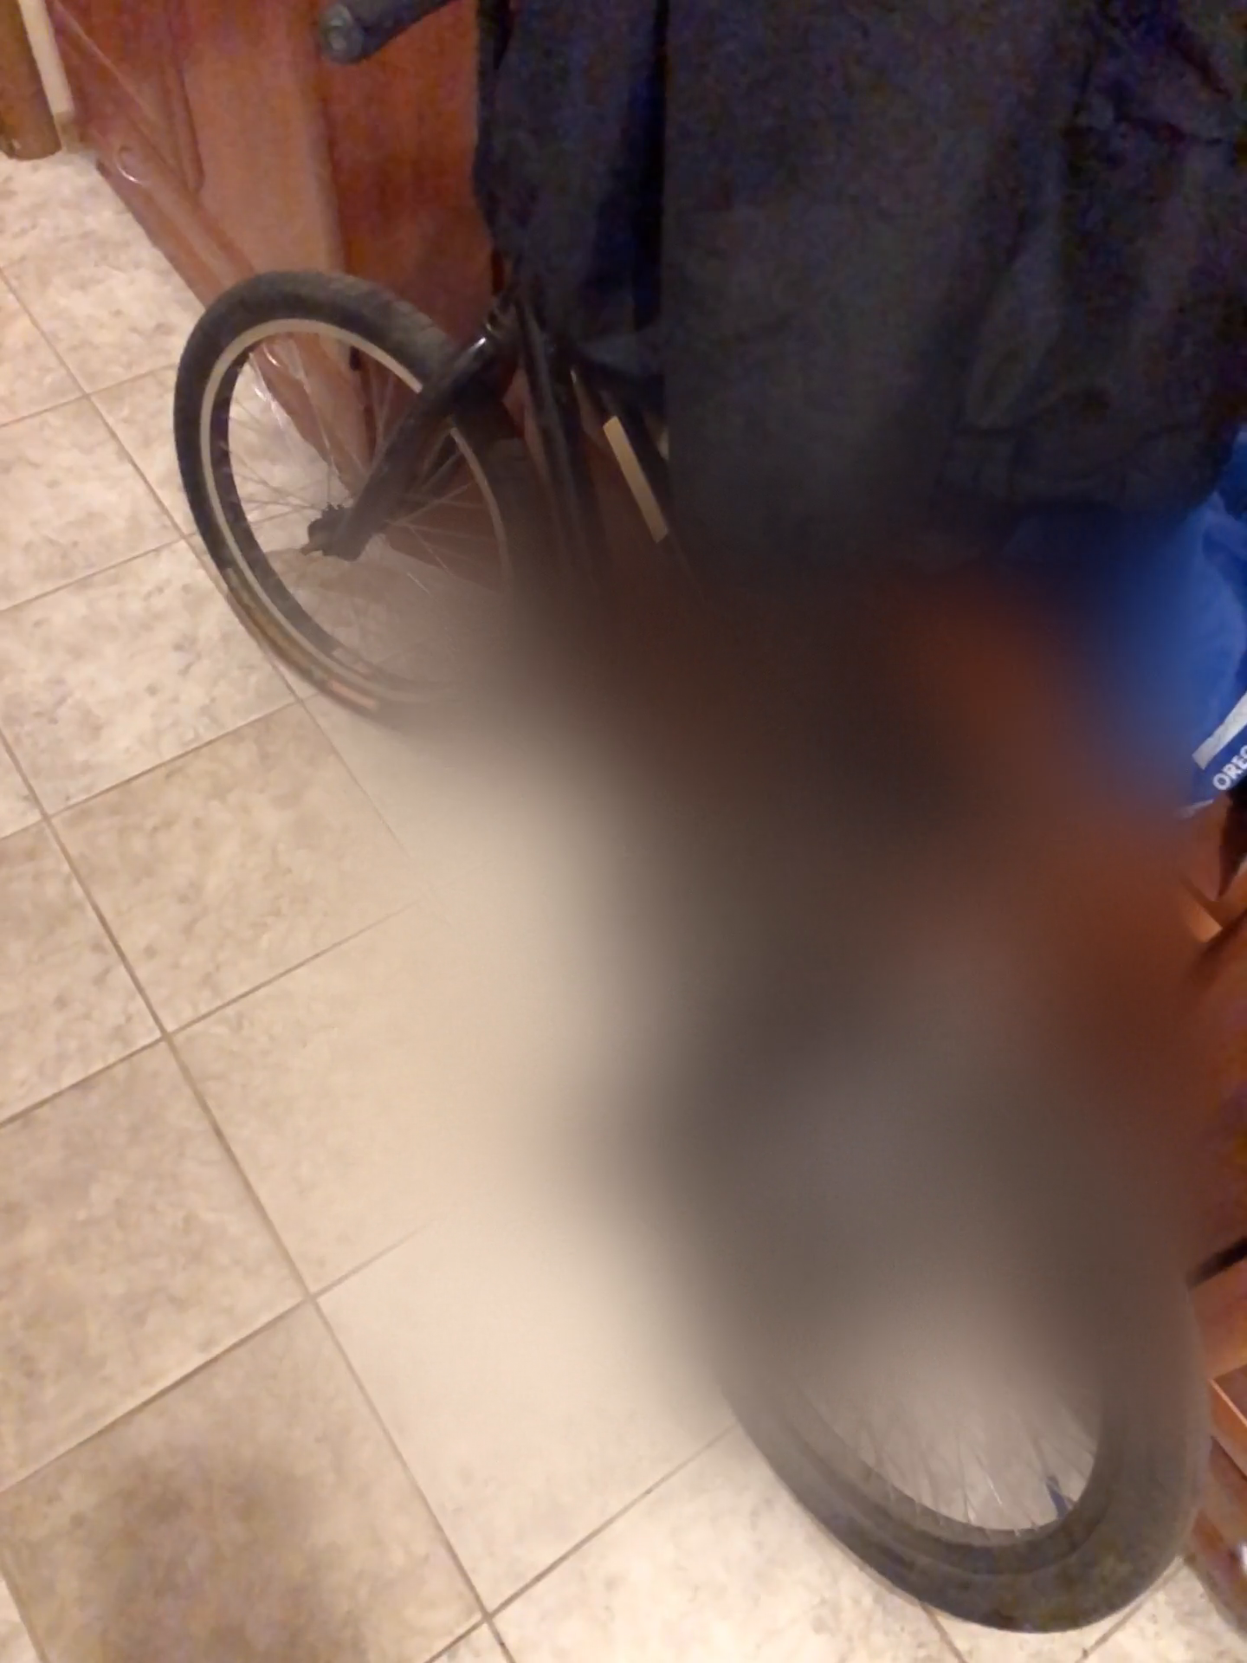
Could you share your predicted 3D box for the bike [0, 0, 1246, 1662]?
[{"bbox_3d":[0.011,-0.117,1.002,0.527,0.855,1.356,-26,66,-19],"label":"bike"}]
